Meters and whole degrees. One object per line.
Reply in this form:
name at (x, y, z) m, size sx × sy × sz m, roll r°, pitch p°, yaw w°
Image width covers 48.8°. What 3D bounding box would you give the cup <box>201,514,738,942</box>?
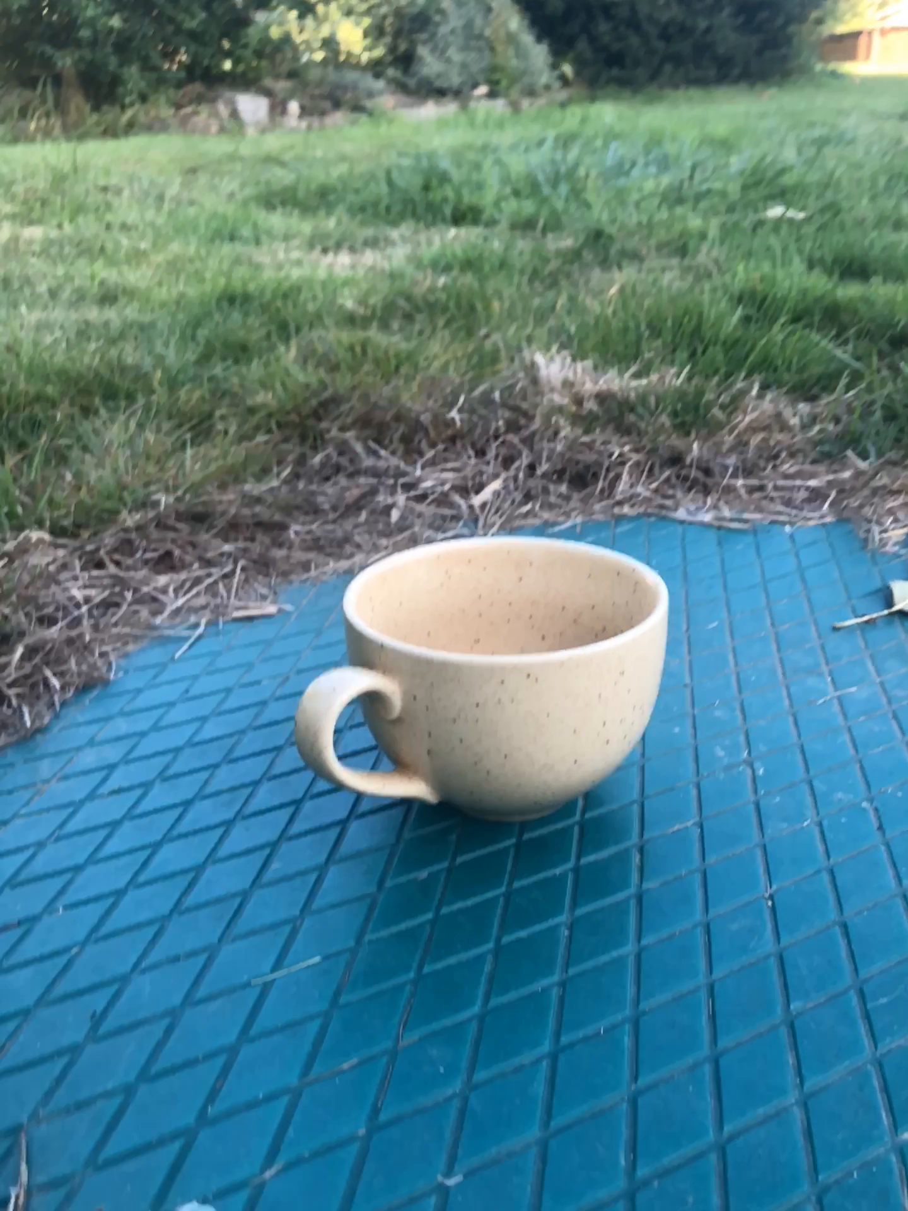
cup at (0.010, 0.028, 0.361) m, size 0.124 × 0.065 × 0.143 m, roll 17°, pitch 31°, yaw 39°
